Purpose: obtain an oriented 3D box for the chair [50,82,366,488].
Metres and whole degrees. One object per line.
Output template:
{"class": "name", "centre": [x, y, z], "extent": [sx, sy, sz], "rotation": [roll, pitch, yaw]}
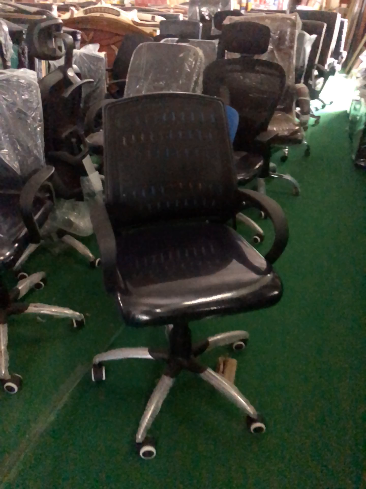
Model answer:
{"class": "chair", "centre": [-0.010, 0.039, 1.403], "extent": [0.731, 0.995, 0.873], "rotation": [-7, 31, -15]}
